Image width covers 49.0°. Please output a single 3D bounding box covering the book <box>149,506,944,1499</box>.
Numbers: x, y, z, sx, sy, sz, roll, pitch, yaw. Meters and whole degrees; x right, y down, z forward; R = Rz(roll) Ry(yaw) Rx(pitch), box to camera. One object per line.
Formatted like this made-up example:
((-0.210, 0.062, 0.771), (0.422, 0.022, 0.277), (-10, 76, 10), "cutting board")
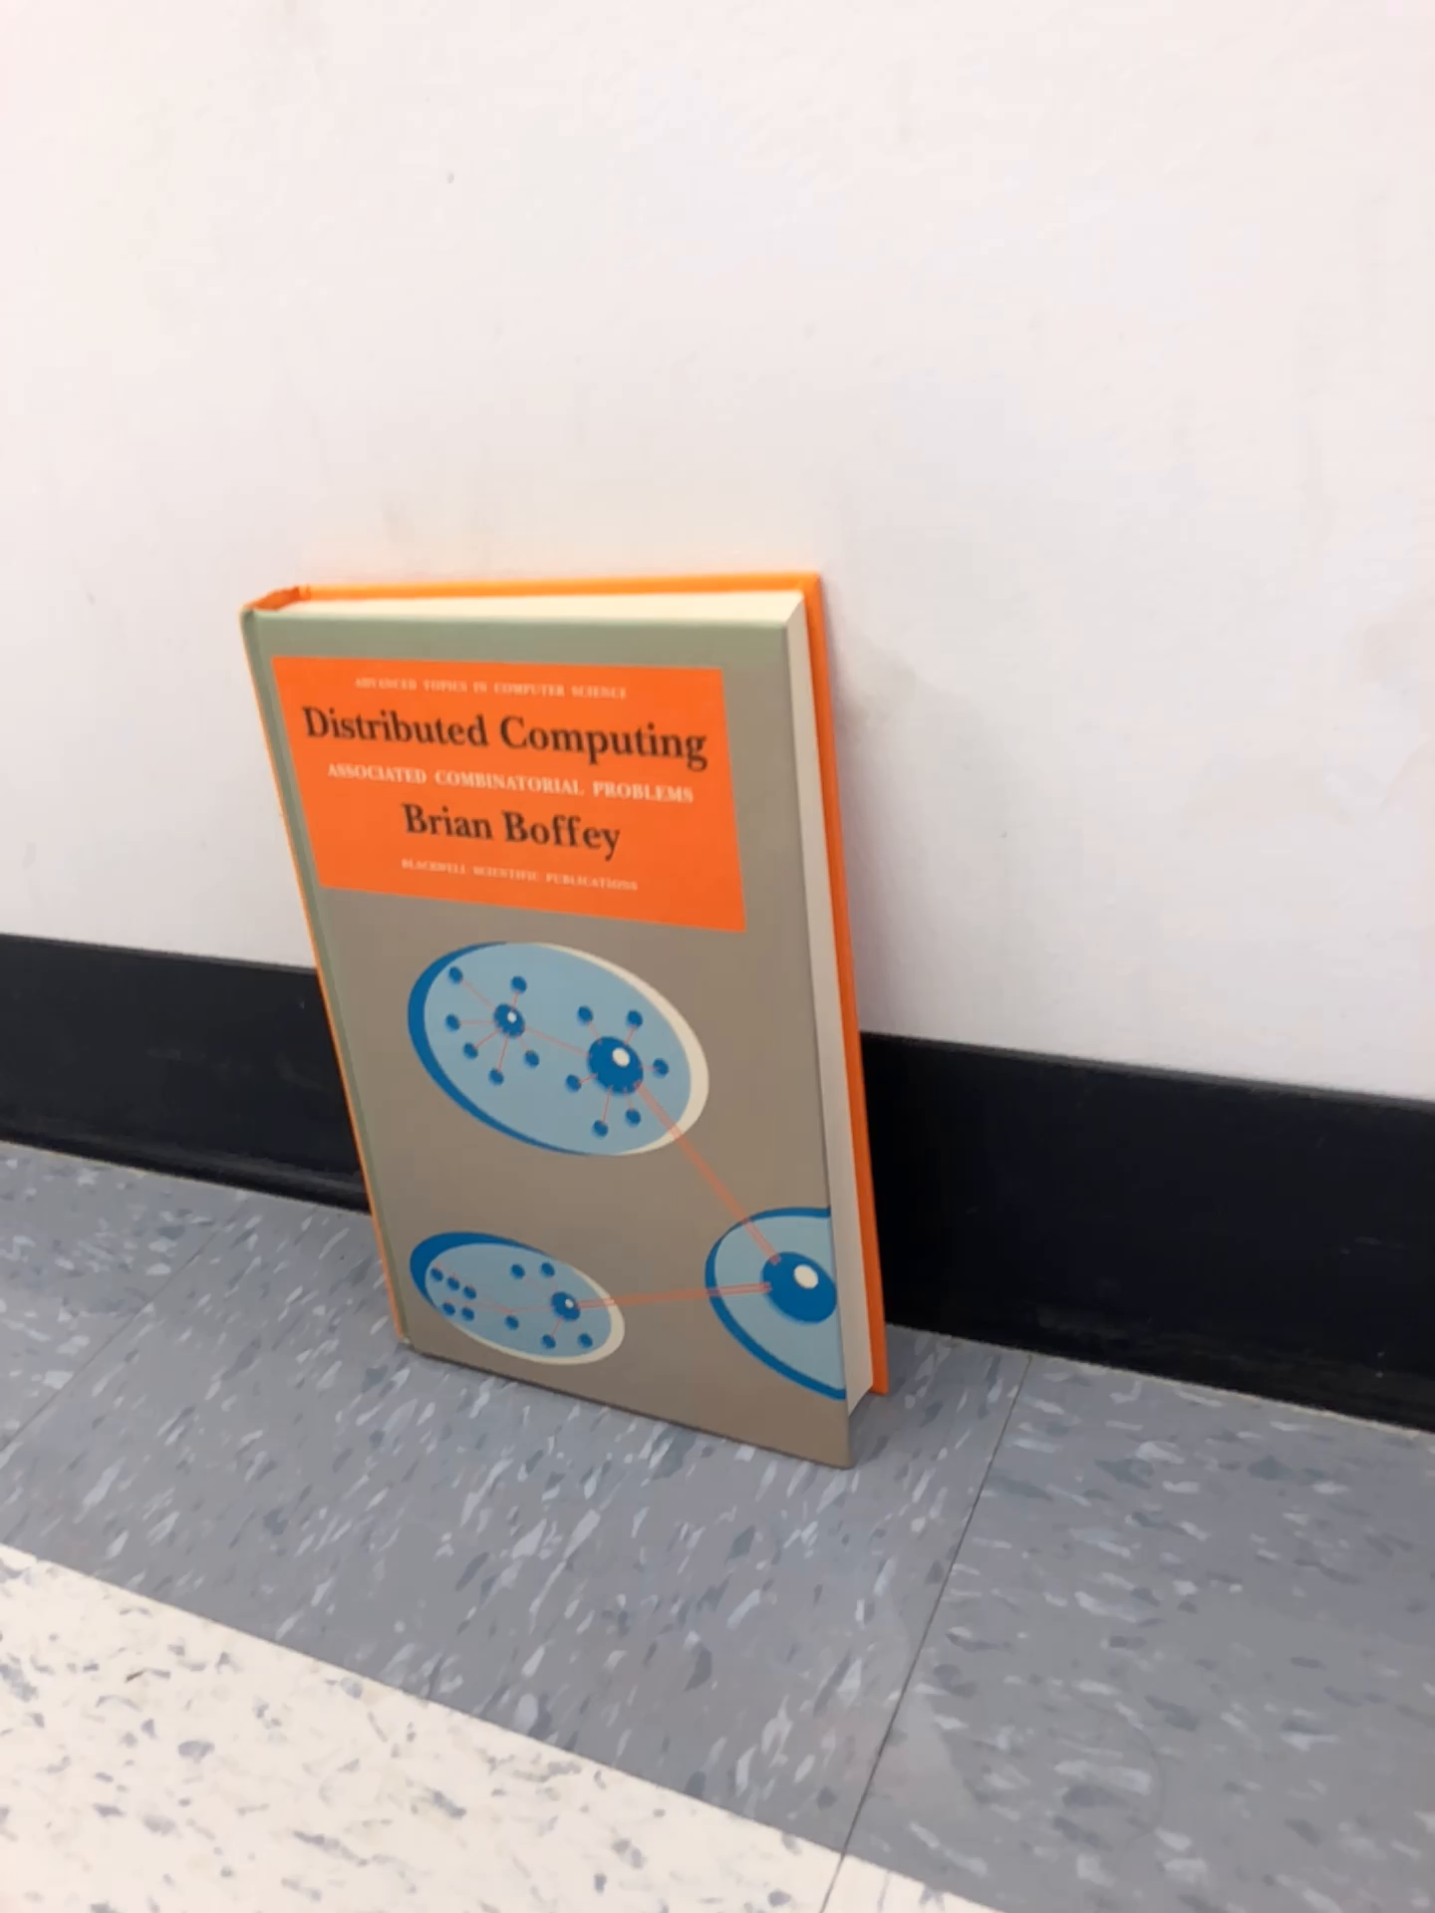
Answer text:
((-0.038, 0.012, 0.413), (0.170, 0.239, 0.050), (6, 28, 28), "book")
